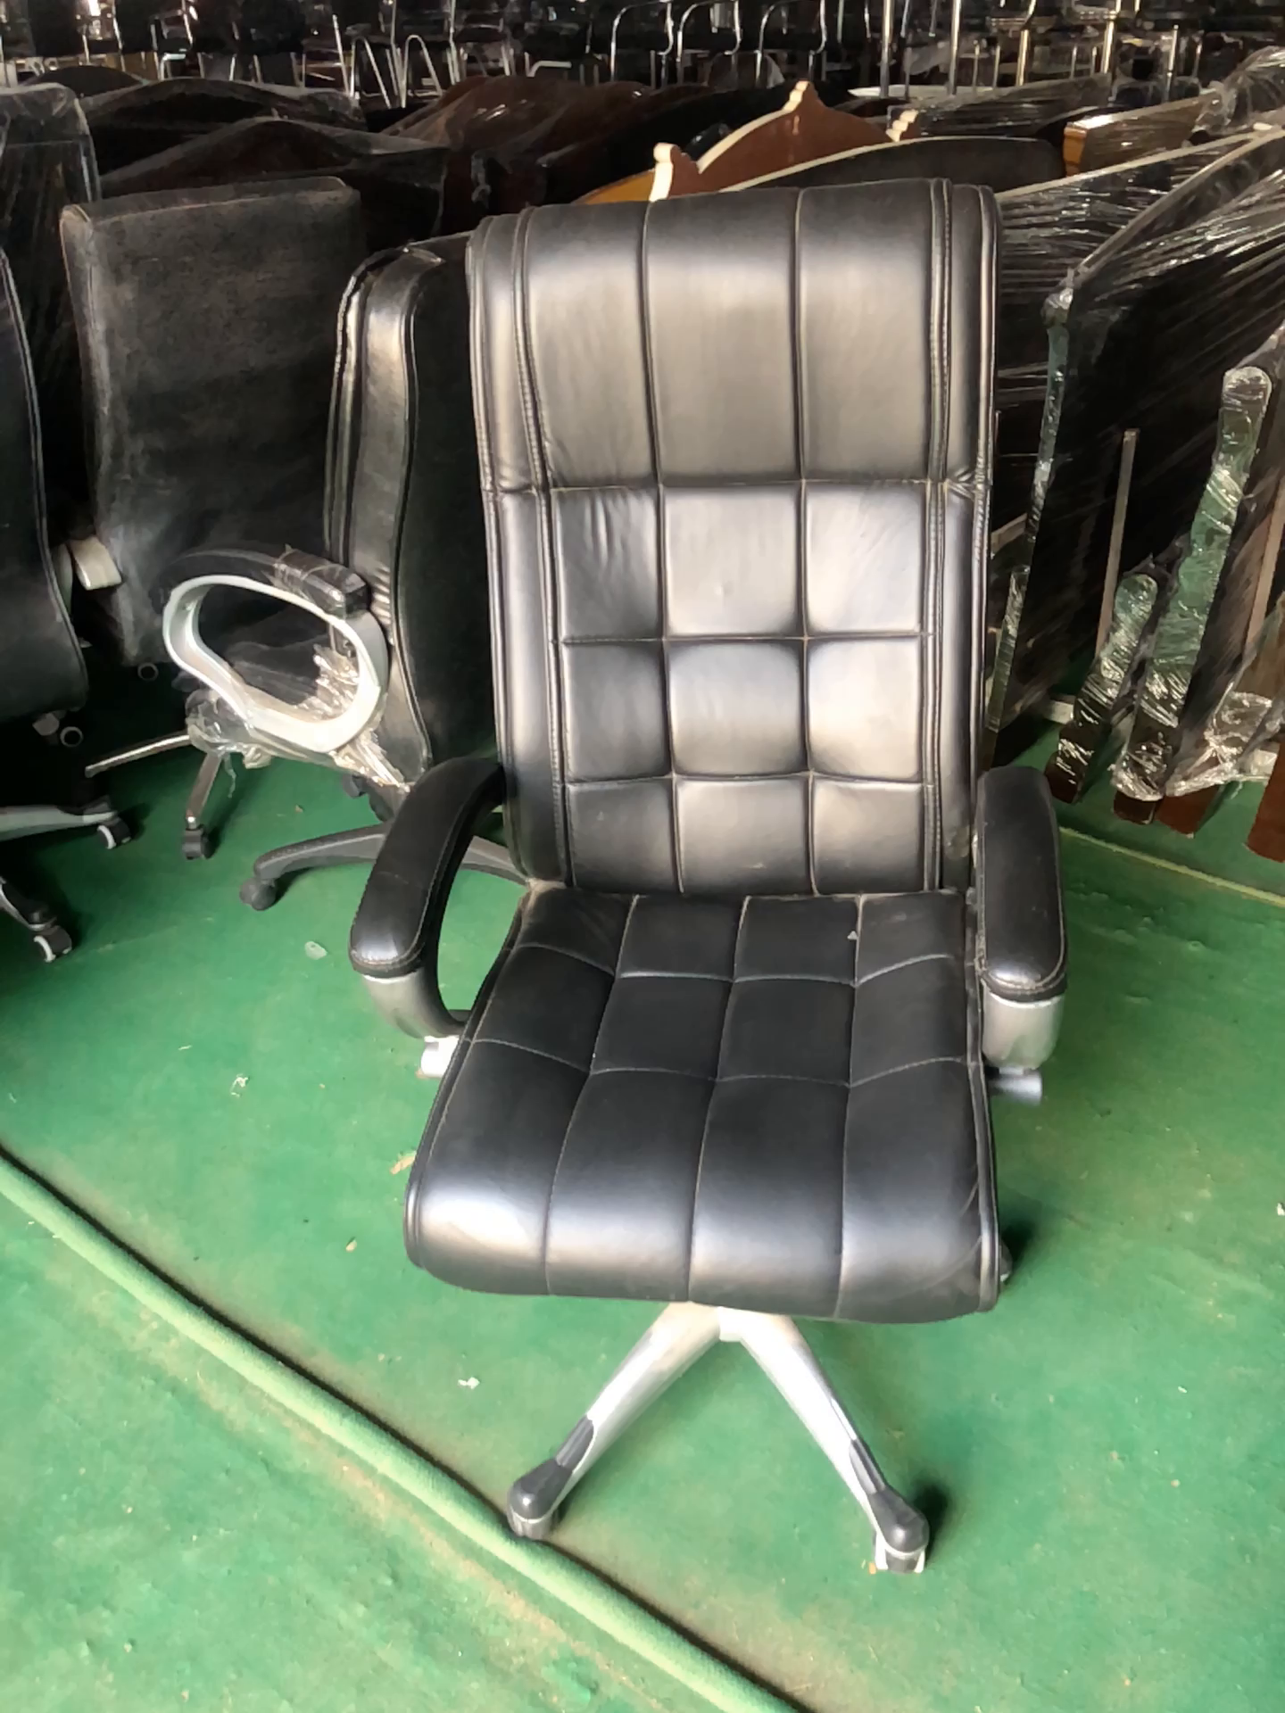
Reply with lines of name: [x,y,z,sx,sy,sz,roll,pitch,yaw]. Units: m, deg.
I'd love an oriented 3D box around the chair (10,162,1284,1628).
chair: [0.084,0.002,1.461,0.810,1.224,0.835,2,31,6]
